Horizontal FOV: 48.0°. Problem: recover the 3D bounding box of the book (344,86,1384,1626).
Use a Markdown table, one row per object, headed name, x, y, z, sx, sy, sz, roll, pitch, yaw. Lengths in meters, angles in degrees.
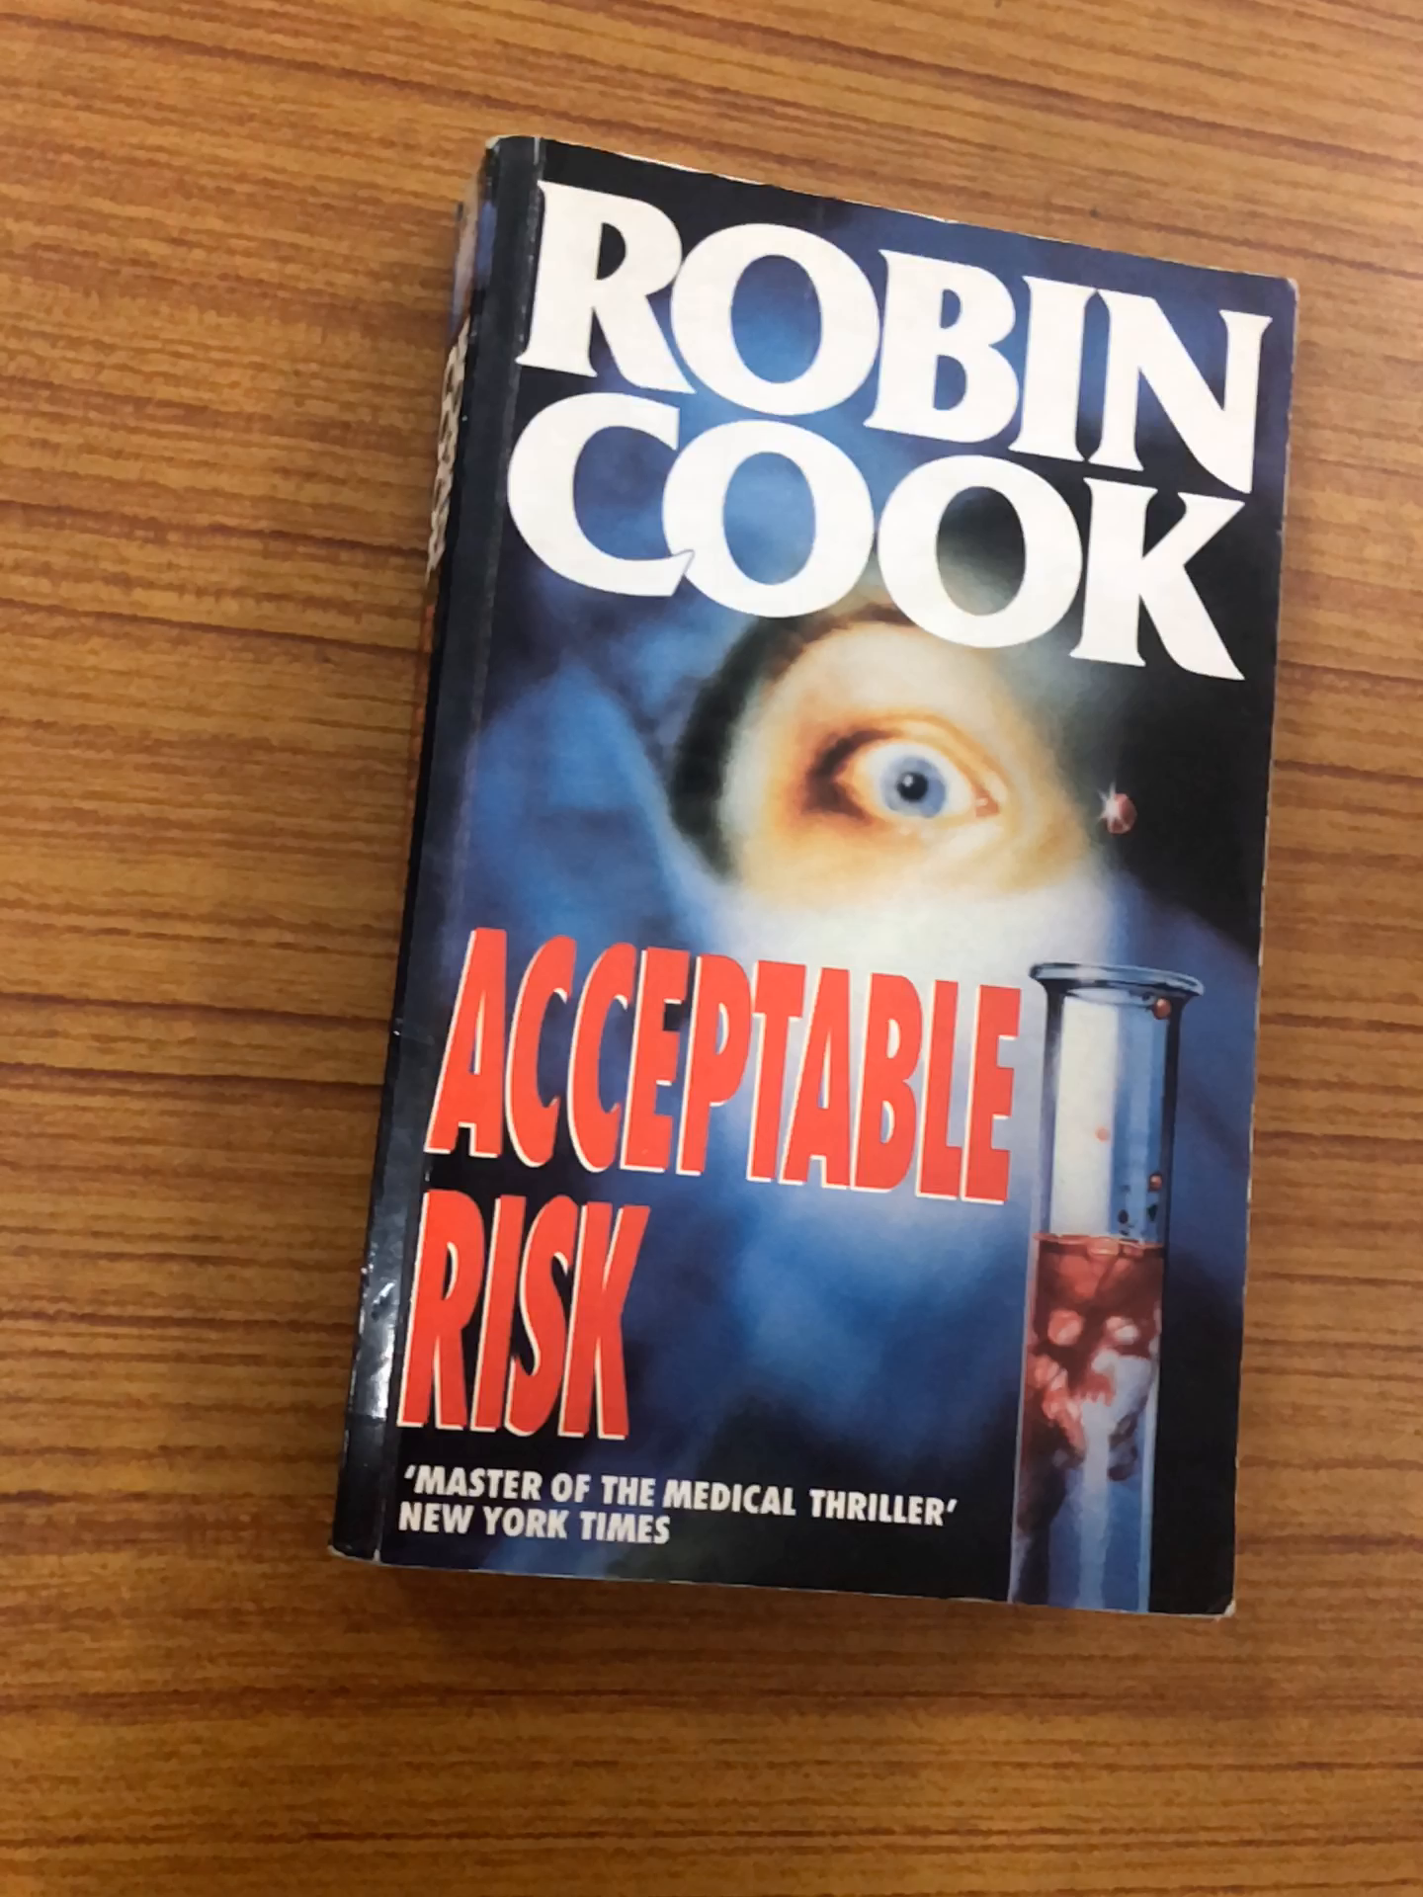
| name | x | y | z | sx | sy | sz | roll | pitch | yaw |
| --- | --- | --- | --- | --- | --- | --- | --- | --- | --- |
| book | 0.020 | -0.009 | 0.209 | 0.110 | 0.040 | 0.170 | 8 | 85 | -10 |
